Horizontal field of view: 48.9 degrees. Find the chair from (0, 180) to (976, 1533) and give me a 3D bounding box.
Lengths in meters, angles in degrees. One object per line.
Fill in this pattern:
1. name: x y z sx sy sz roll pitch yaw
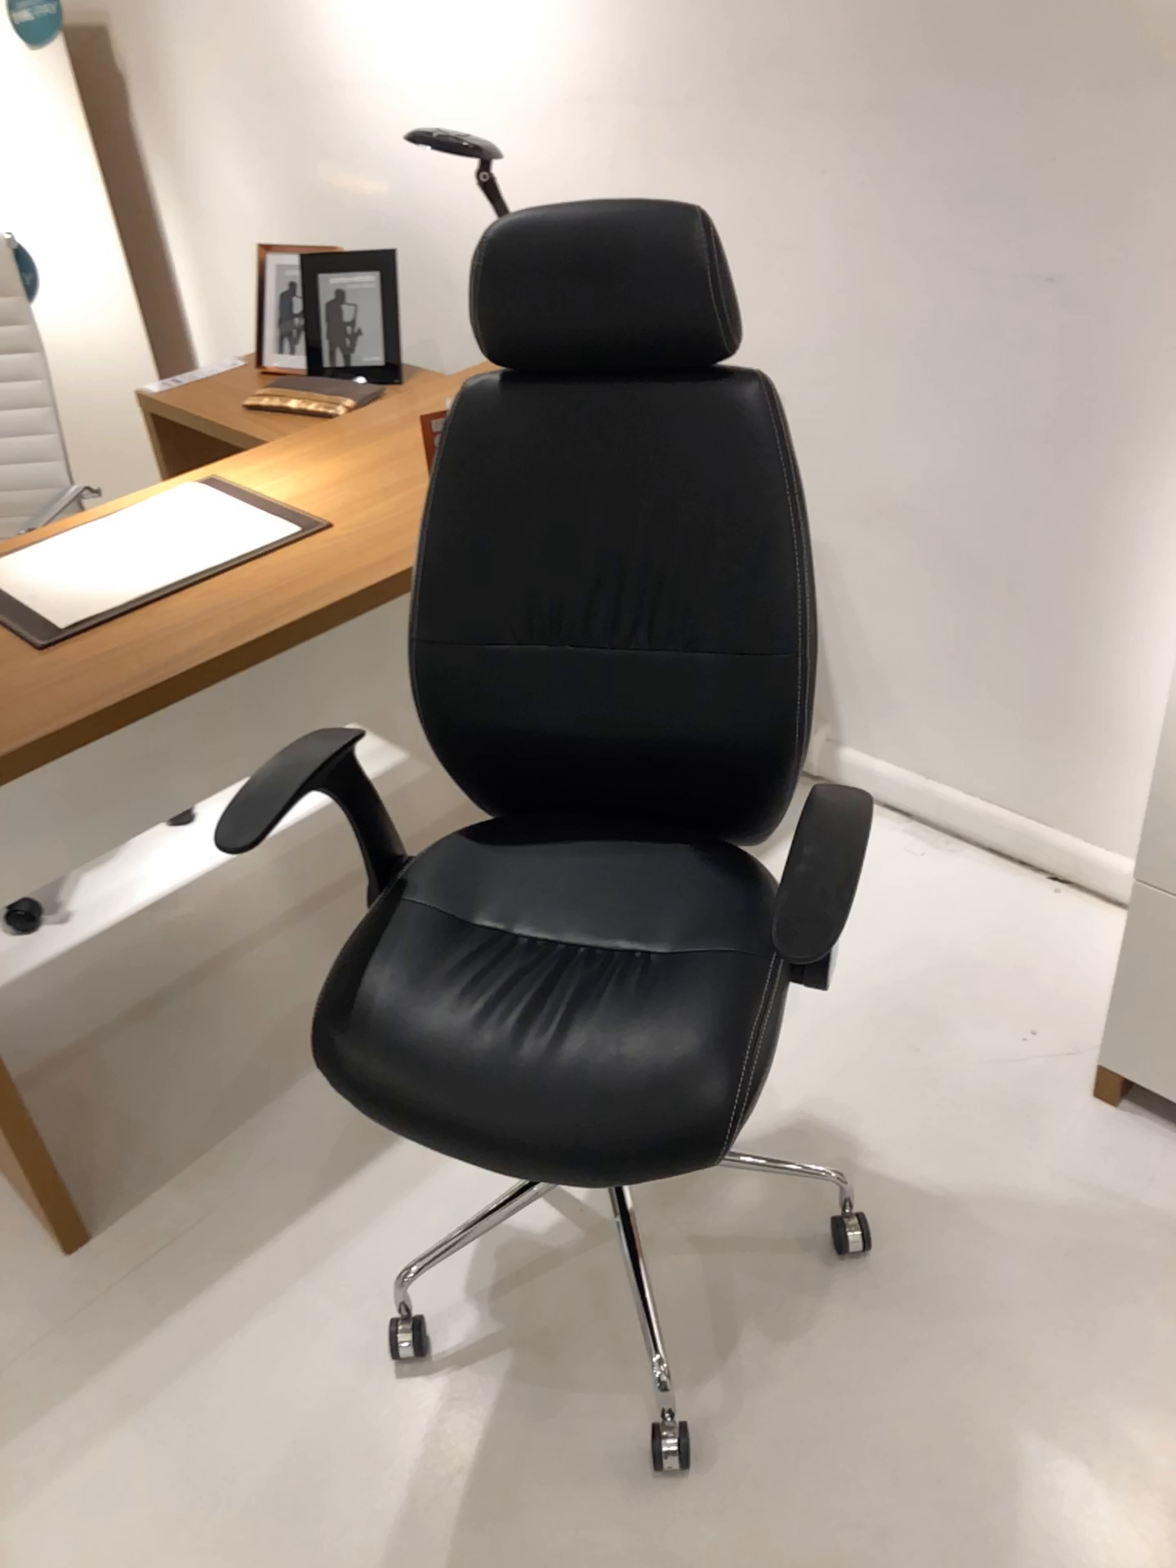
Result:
1. chair: 0.002 0.095 1.494 0.690 1.301 0.715 7 38 18
